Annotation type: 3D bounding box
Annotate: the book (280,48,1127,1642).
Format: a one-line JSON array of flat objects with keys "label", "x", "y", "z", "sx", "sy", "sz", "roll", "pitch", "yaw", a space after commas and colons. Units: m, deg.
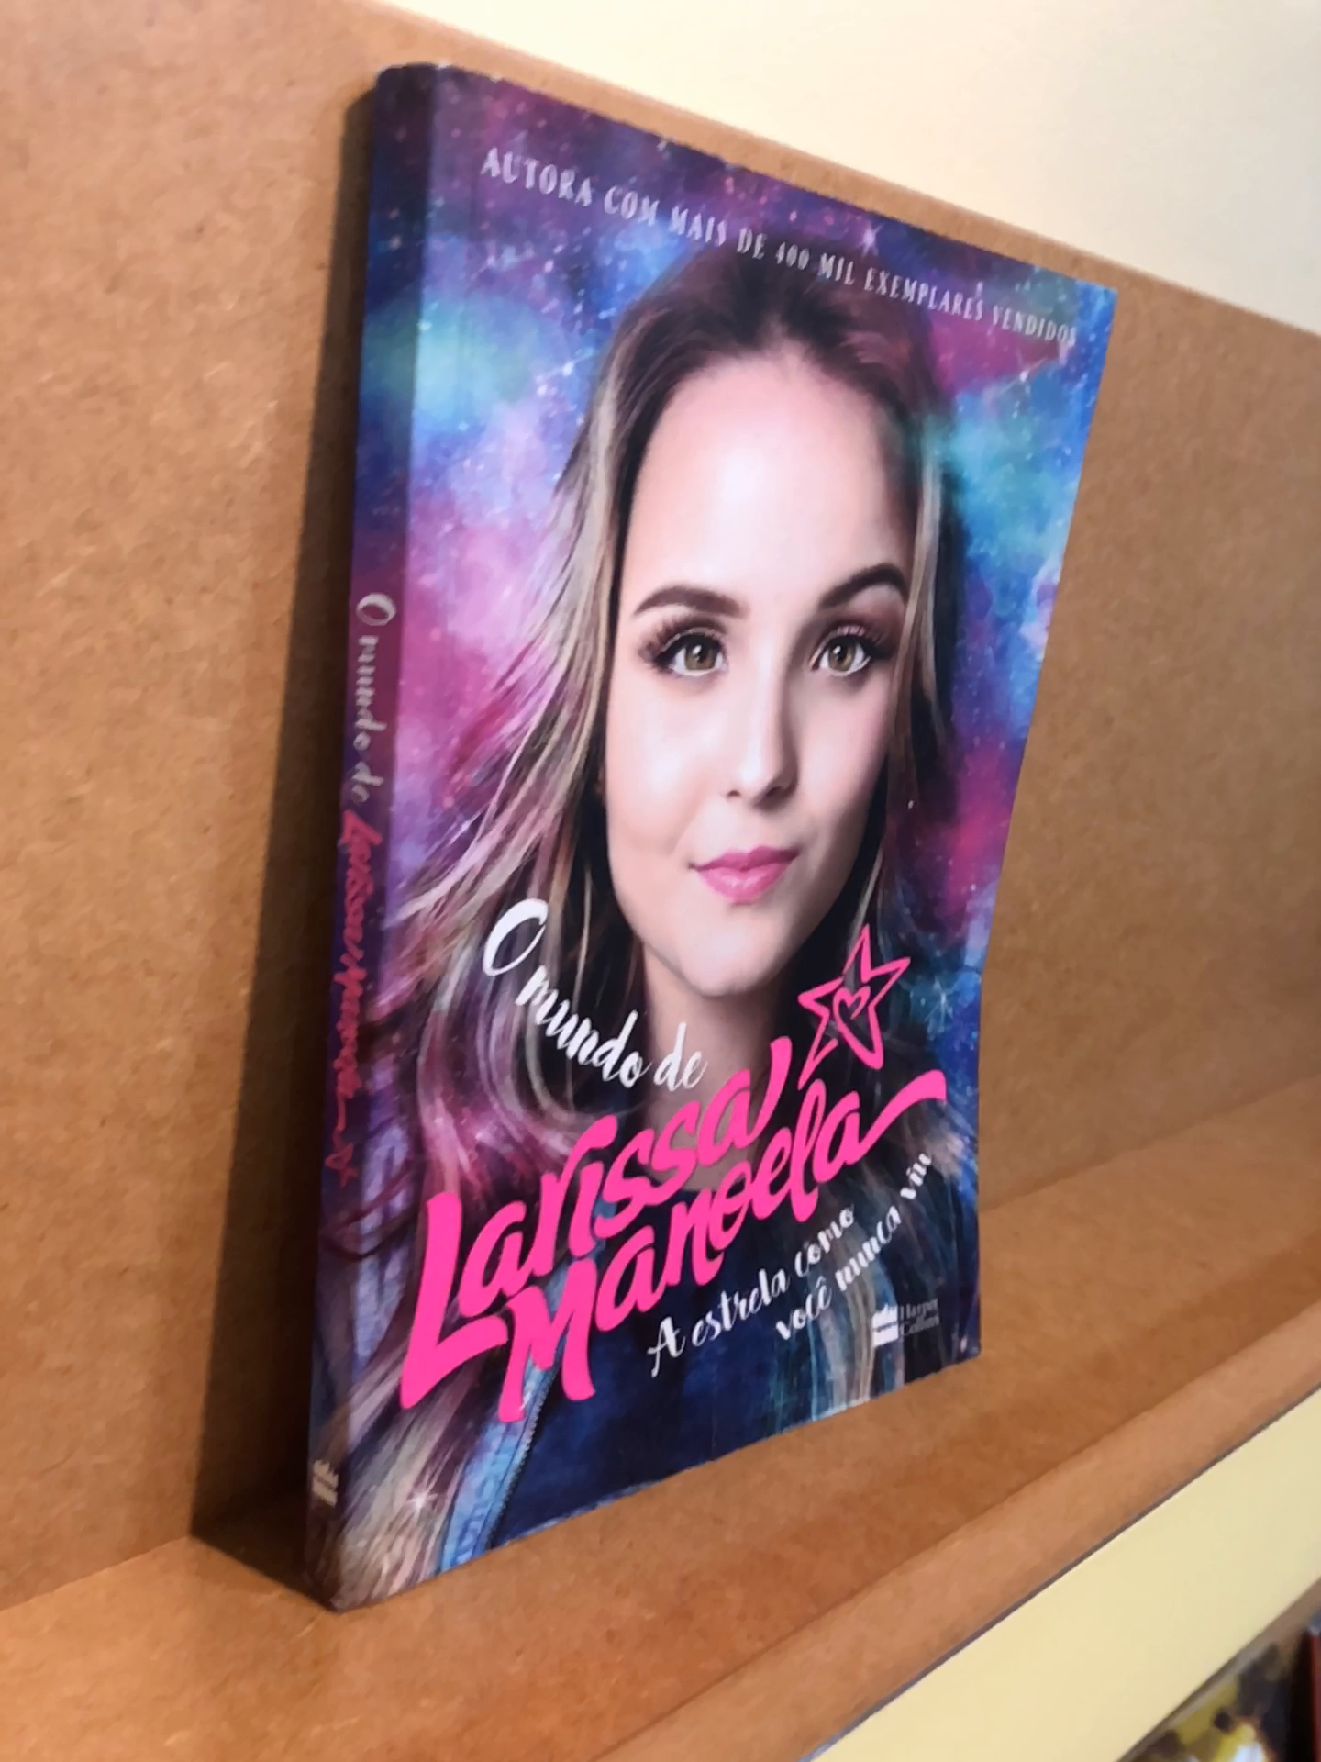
[{"label": "book", "x": 0.012, "y": -0.001, "z": 0.256, "sx": 0.150, "sy": 0.222, "sz": 0.020, "roll": -5, "pitch": 15, "yaw": -39}]
